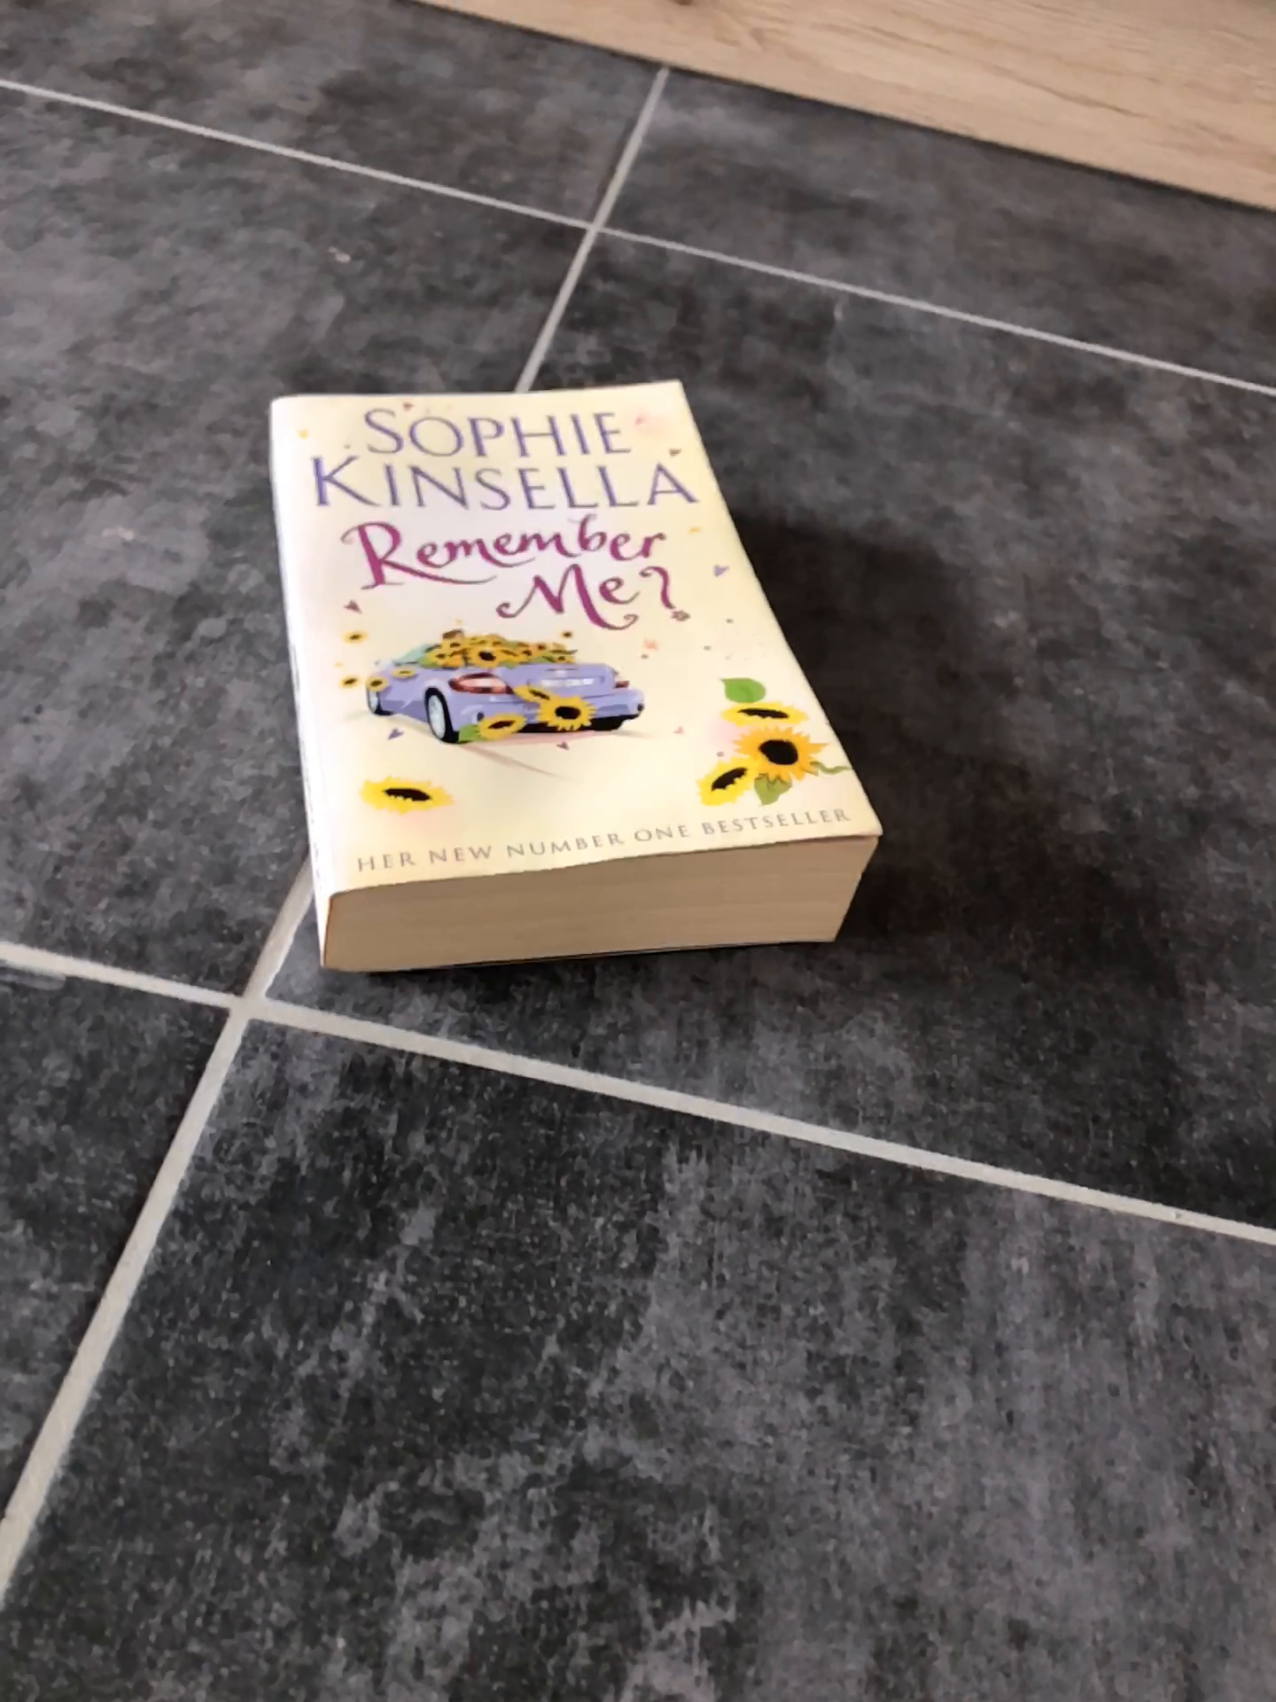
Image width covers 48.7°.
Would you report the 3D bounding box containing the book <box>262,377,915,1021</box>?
[{"bbox_3d":[-0.026,-0.055,0.375,0.130,0.040,0.201,-6,48,-13],"label":"book"}]
